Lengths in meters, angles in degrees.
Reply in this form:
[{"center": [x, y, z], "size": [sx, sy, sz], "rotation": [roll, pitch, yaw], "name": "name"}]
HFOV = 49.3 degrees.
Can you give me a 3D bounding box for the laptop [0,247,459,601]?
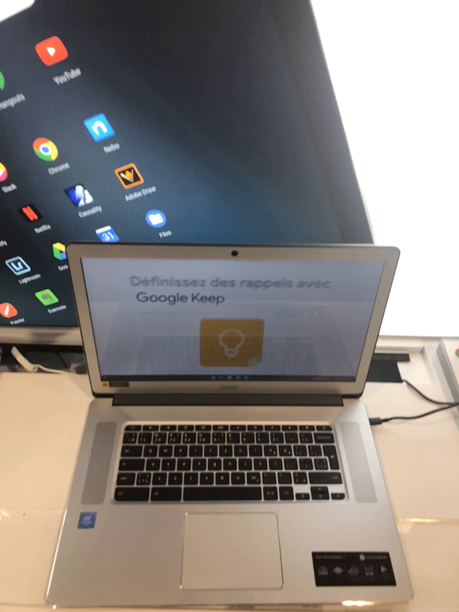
[{"center": [0.004, 0.122, 0.544], "size": [0.371, 0.243, 0.283], "rotation": [1, 44, -3], "name": "laptop"}]
